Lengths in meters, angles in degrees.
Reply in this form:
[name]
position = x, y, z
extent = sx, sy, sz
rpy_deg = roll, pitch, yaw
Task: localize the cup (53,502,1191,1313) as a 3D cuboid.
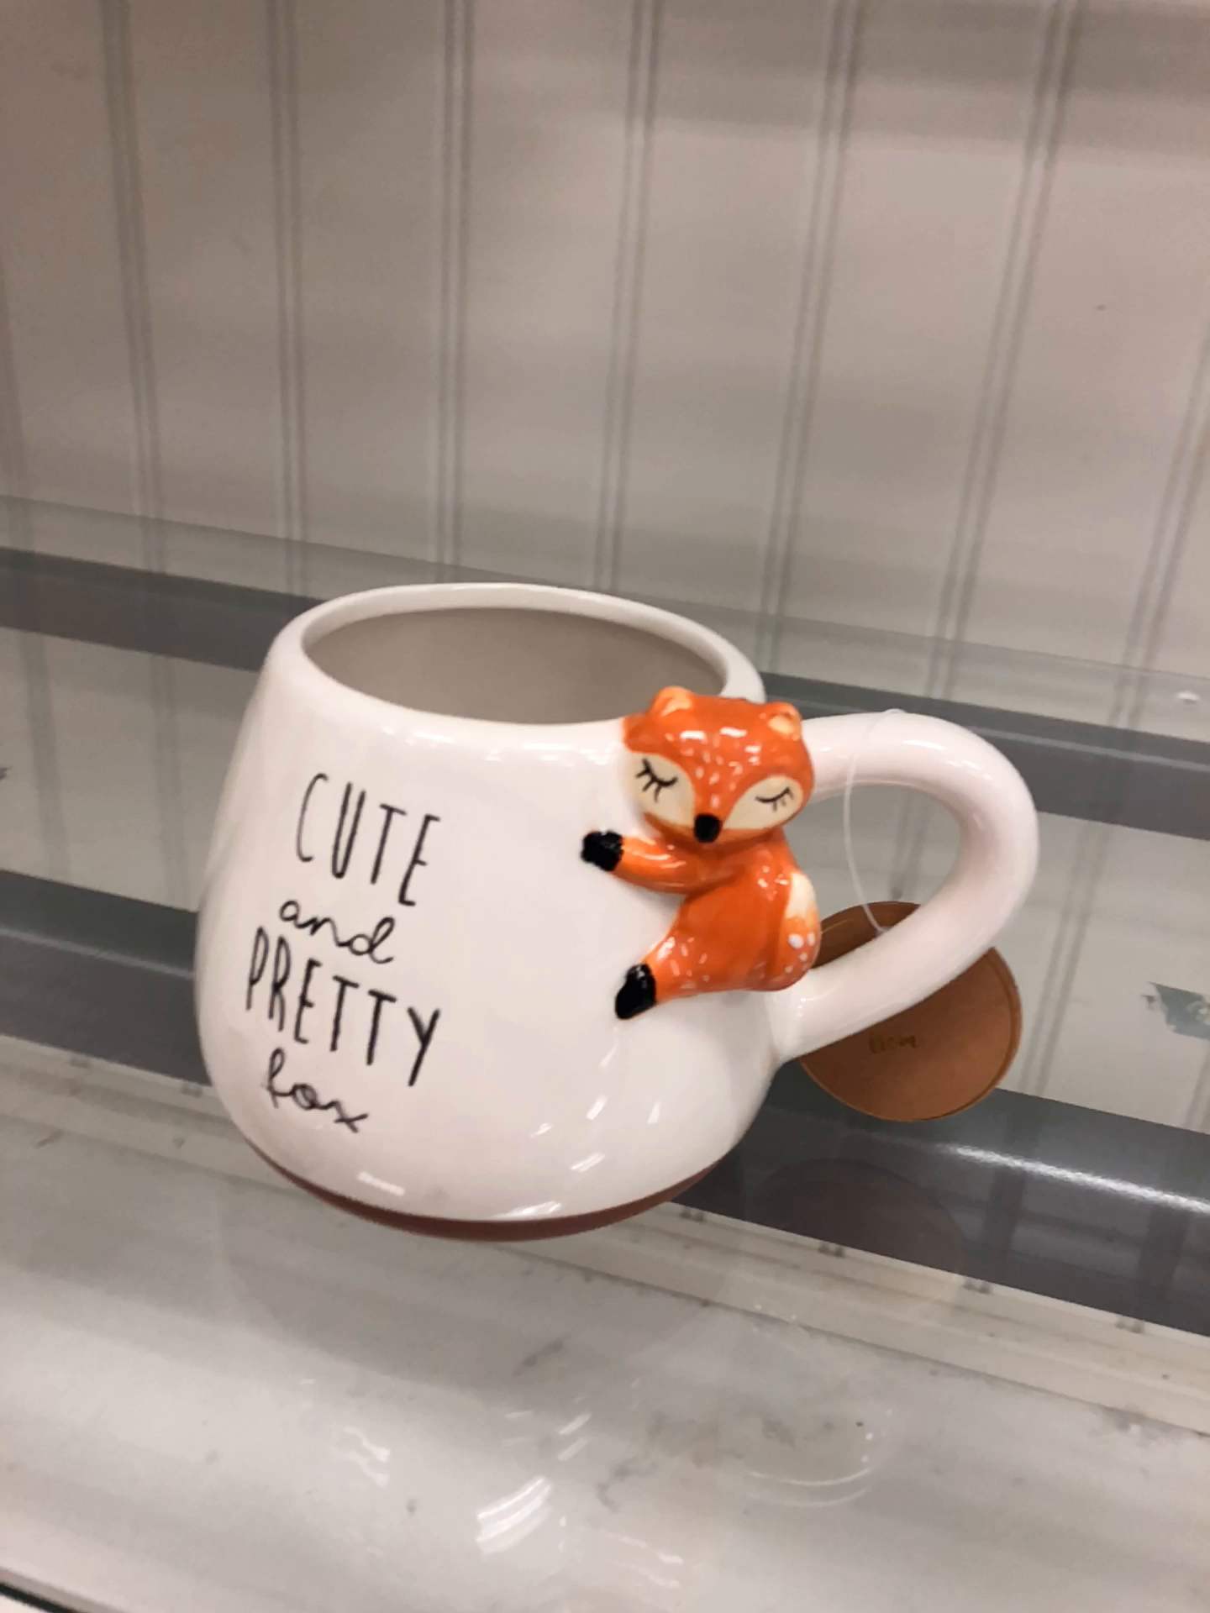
[cup]
position = 0.001, 0.009, 0.232
extent = 0.143, 0.089, 0.101
rpy_deg = 5, 25, 0
